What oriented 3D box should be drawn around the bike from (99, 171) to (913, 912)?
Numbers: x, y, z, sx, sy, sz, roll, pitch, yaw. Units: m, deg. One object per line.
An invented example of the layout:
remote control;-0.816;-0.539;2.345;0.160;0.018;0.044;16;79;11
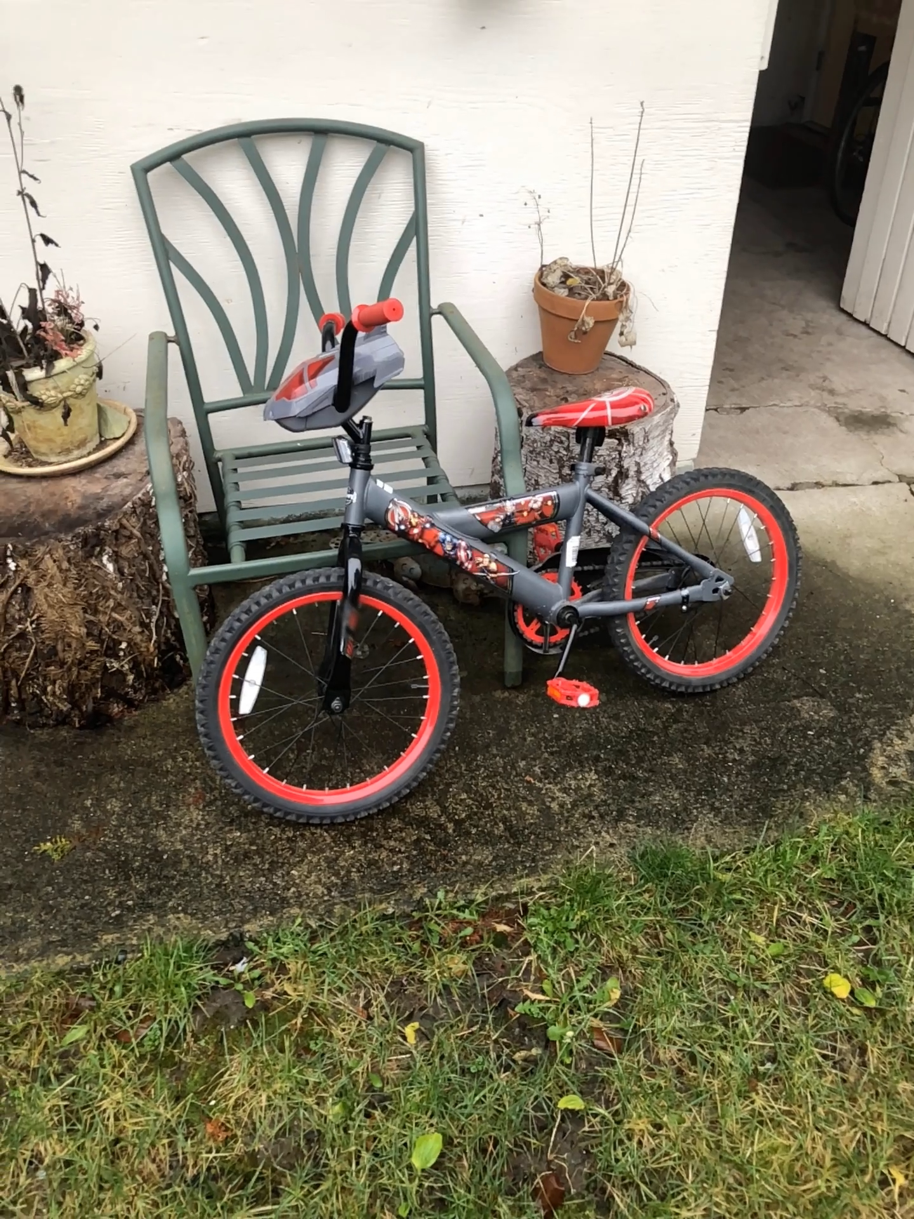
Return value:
bike;0.094;-0.173;1.780;1.200;0.853;0.604;-15;39;-16
